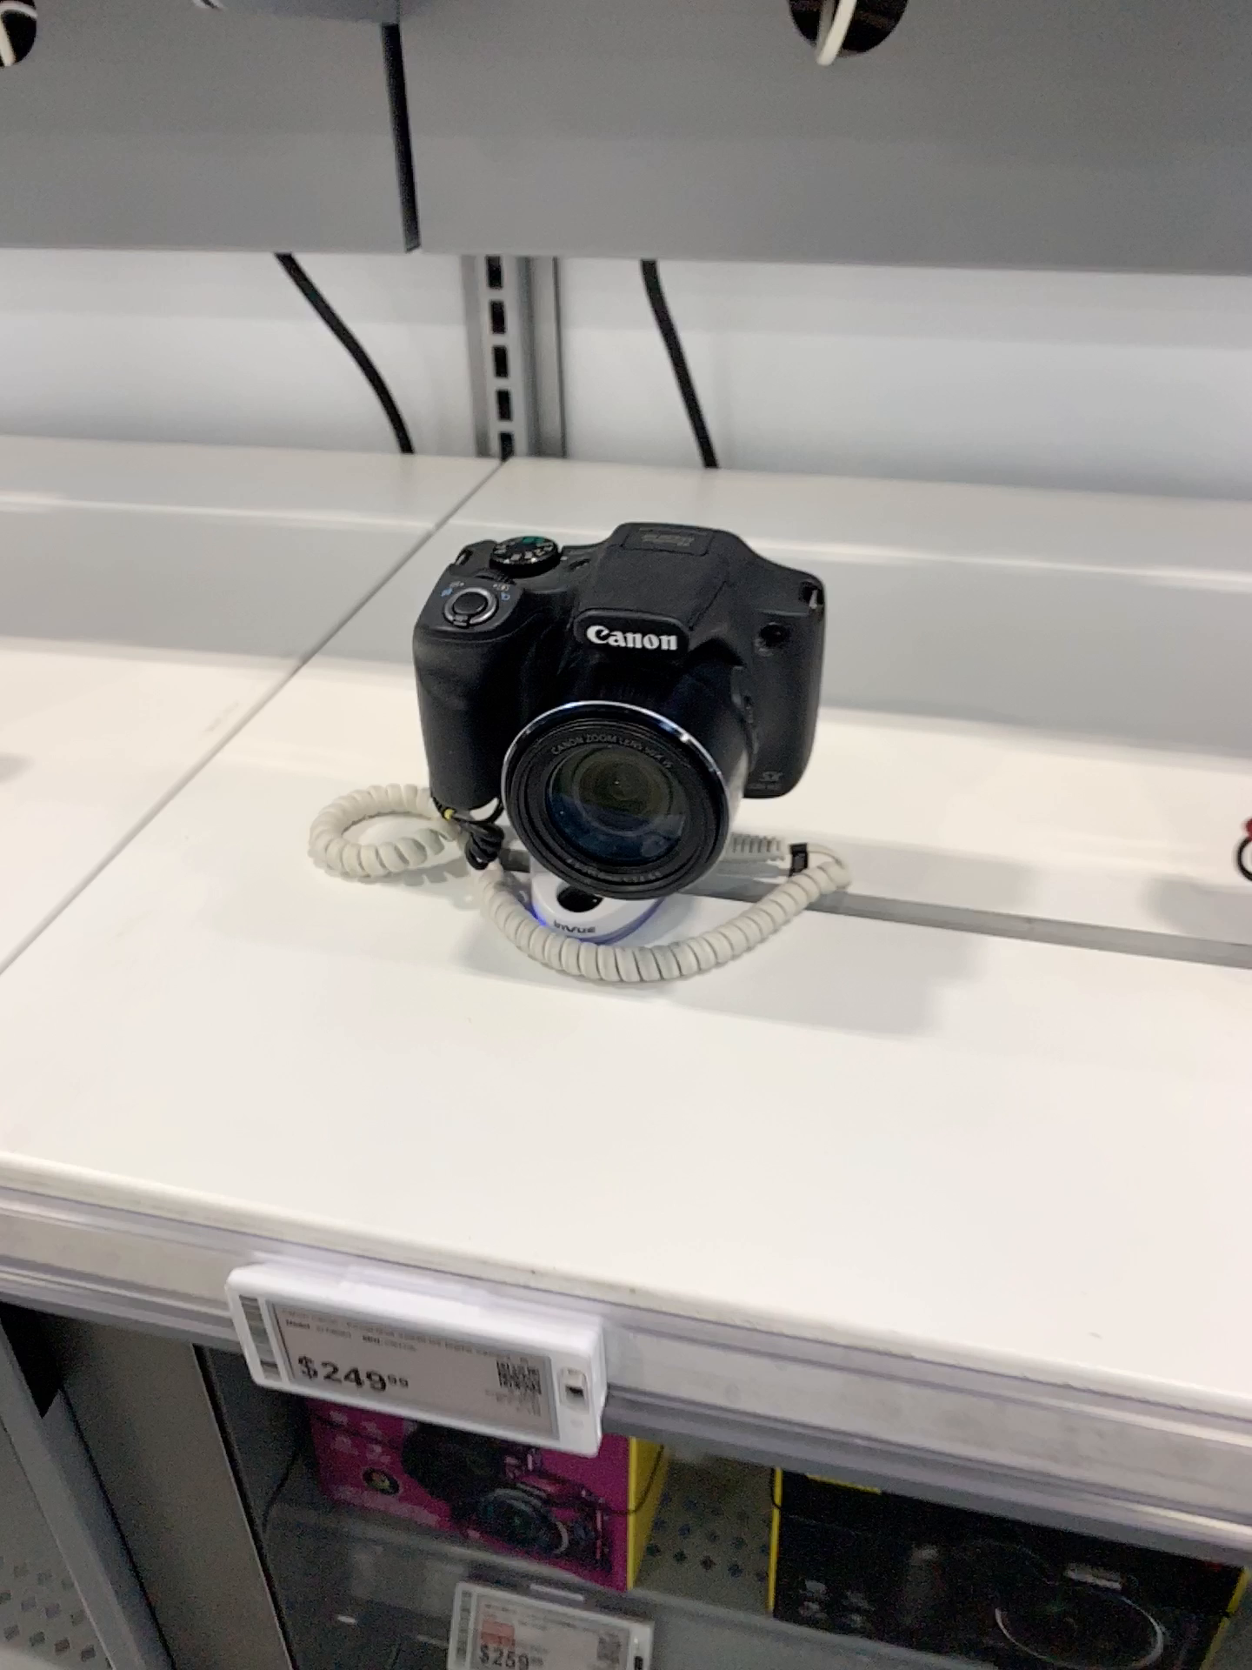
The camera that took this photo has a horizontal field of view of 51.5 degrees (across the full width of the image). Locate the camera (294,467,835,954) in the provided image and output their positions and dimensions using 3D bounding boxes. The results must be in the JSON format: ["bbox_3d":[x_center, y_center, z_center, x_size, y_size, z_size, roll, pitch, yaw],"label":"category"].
[{"bbox_3d":[-0.009,-0.040,0.362,0.120,0.089,0.101,6,34,11],"label":"camera"}]

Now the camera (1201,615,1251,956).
[{"bbox_3d":[0.229,-0.014,0.350,0.120,0.070,0.040,6,34,11],"label":"camera"}]
